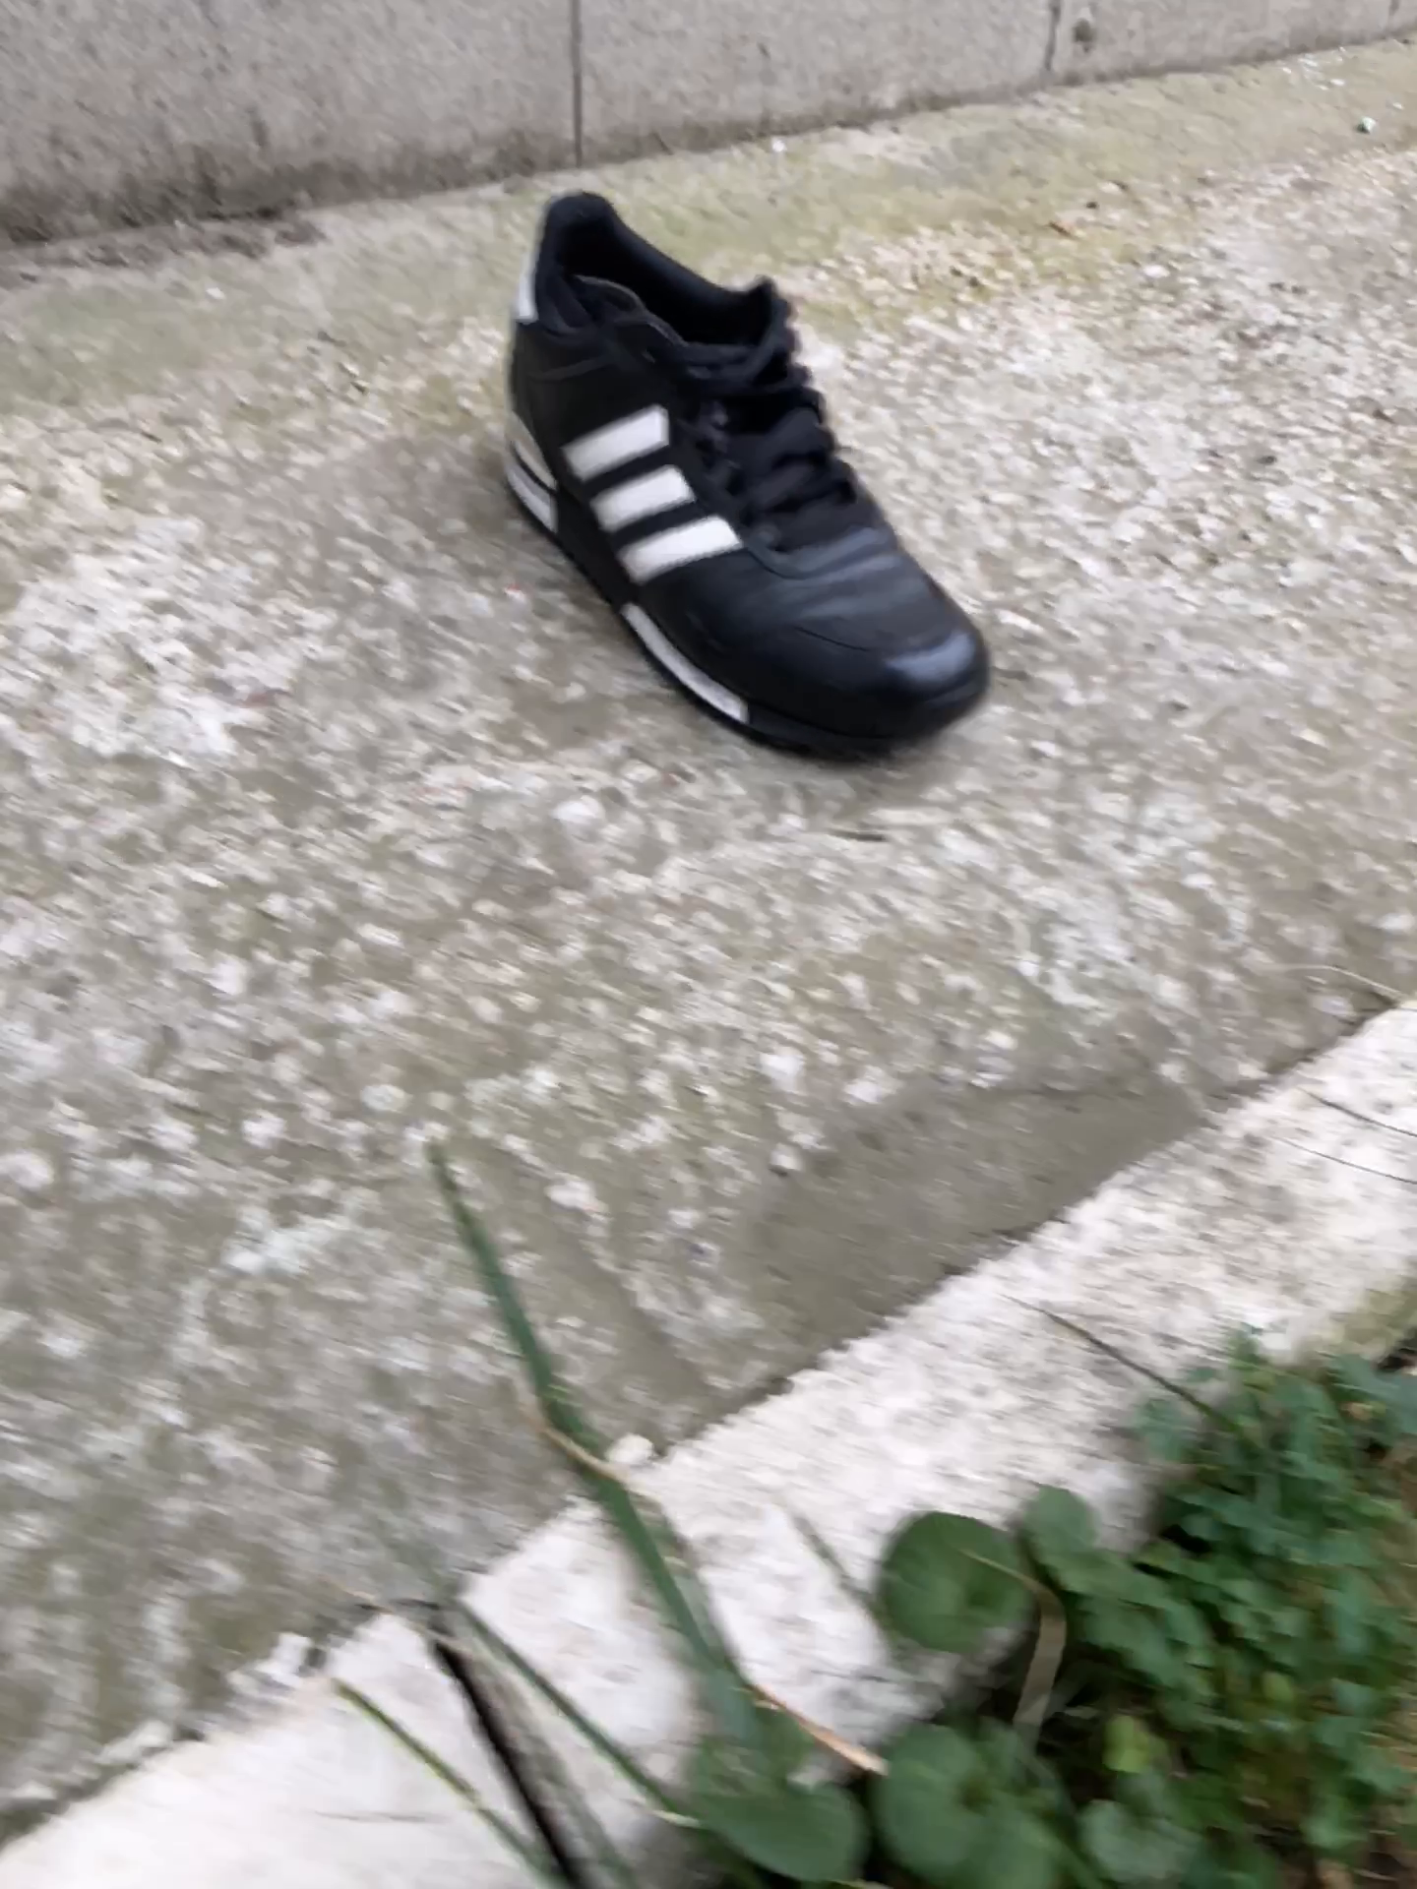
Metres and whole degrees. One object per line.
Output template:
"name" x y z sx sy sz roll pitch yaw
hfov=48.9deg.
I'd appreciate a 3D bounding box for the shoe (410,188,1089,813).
"shoe" 0.000 -0.189 0.619 0.100 0.119 0.281 -26 50 -28
